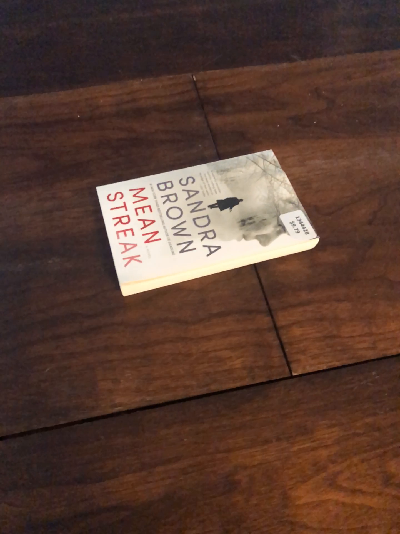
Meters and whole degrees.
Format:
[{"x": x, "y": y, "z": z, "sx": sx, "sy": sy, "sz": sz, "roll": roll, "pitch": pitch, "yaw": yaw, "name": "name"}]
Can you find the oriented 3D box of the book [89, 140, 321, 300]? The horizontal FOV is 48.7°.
[{"x": 0.000, "y": -0.057, "z": 0.466, "sx": 0.207, "sy": 0.030, "sz": 0.137, "roll": -14, "pitch": 58, "yaw": -8, "name": "book"}]
